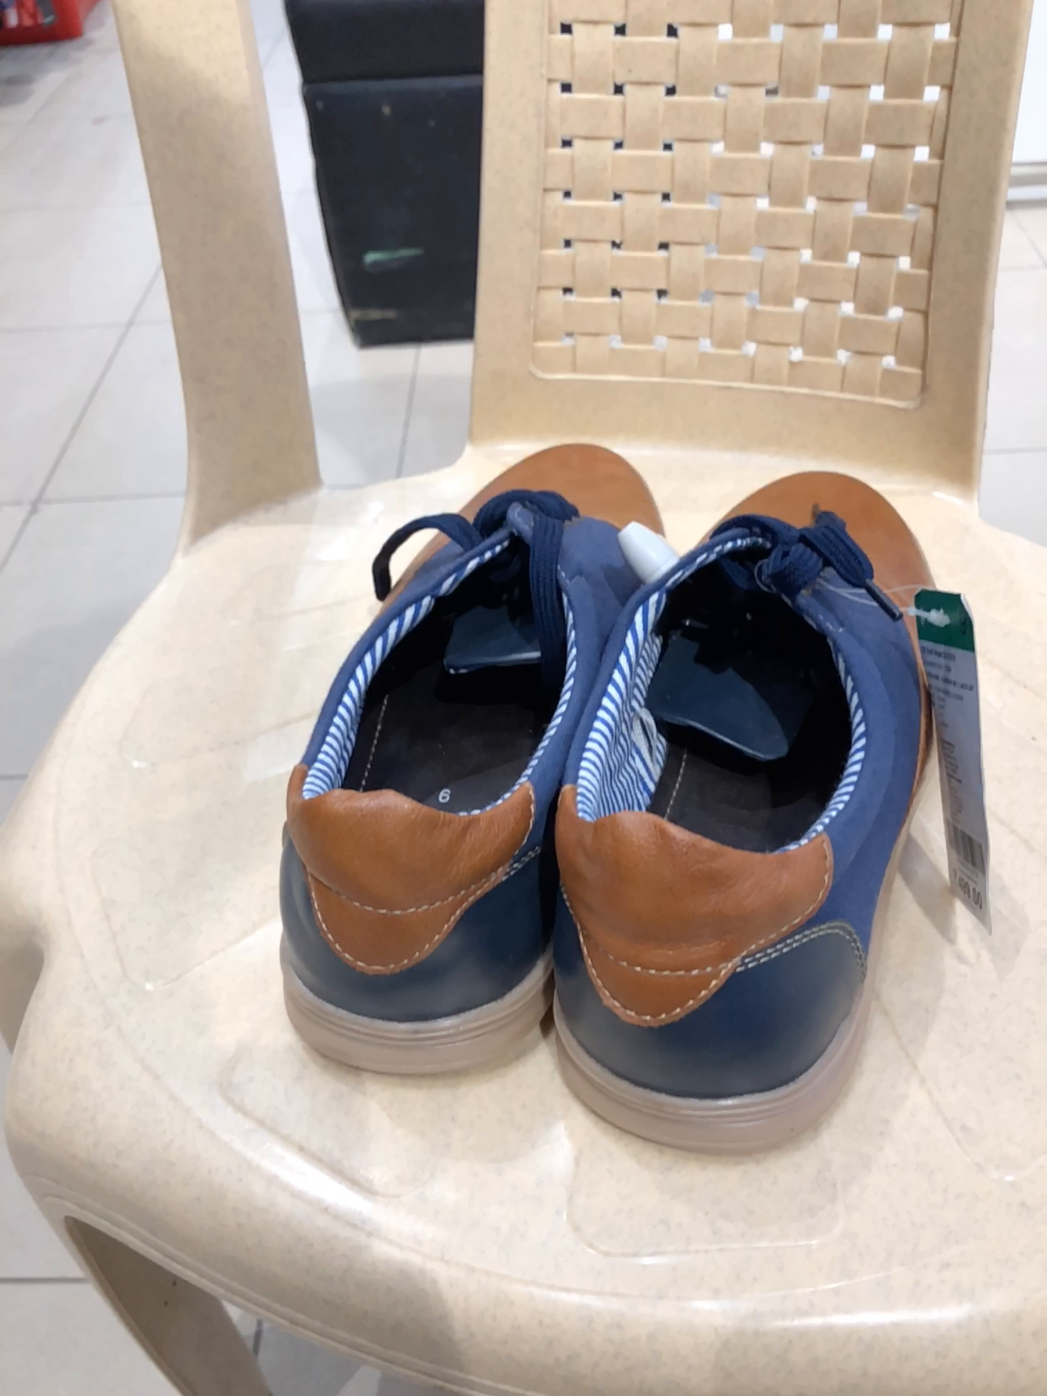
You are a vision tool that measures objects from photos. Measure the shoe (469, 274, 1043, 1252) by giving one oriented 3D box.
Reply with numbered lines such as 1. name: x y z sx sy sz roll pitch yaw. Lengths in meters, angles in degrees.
1. shoe: 0.080 -0.004 0.335 0.103 0.119 0.253 9 48 15

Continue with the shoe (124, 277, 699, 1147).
1. shoe: -0.007 -0.016 0.359 0.103 0.112 0.255 4 46 10
